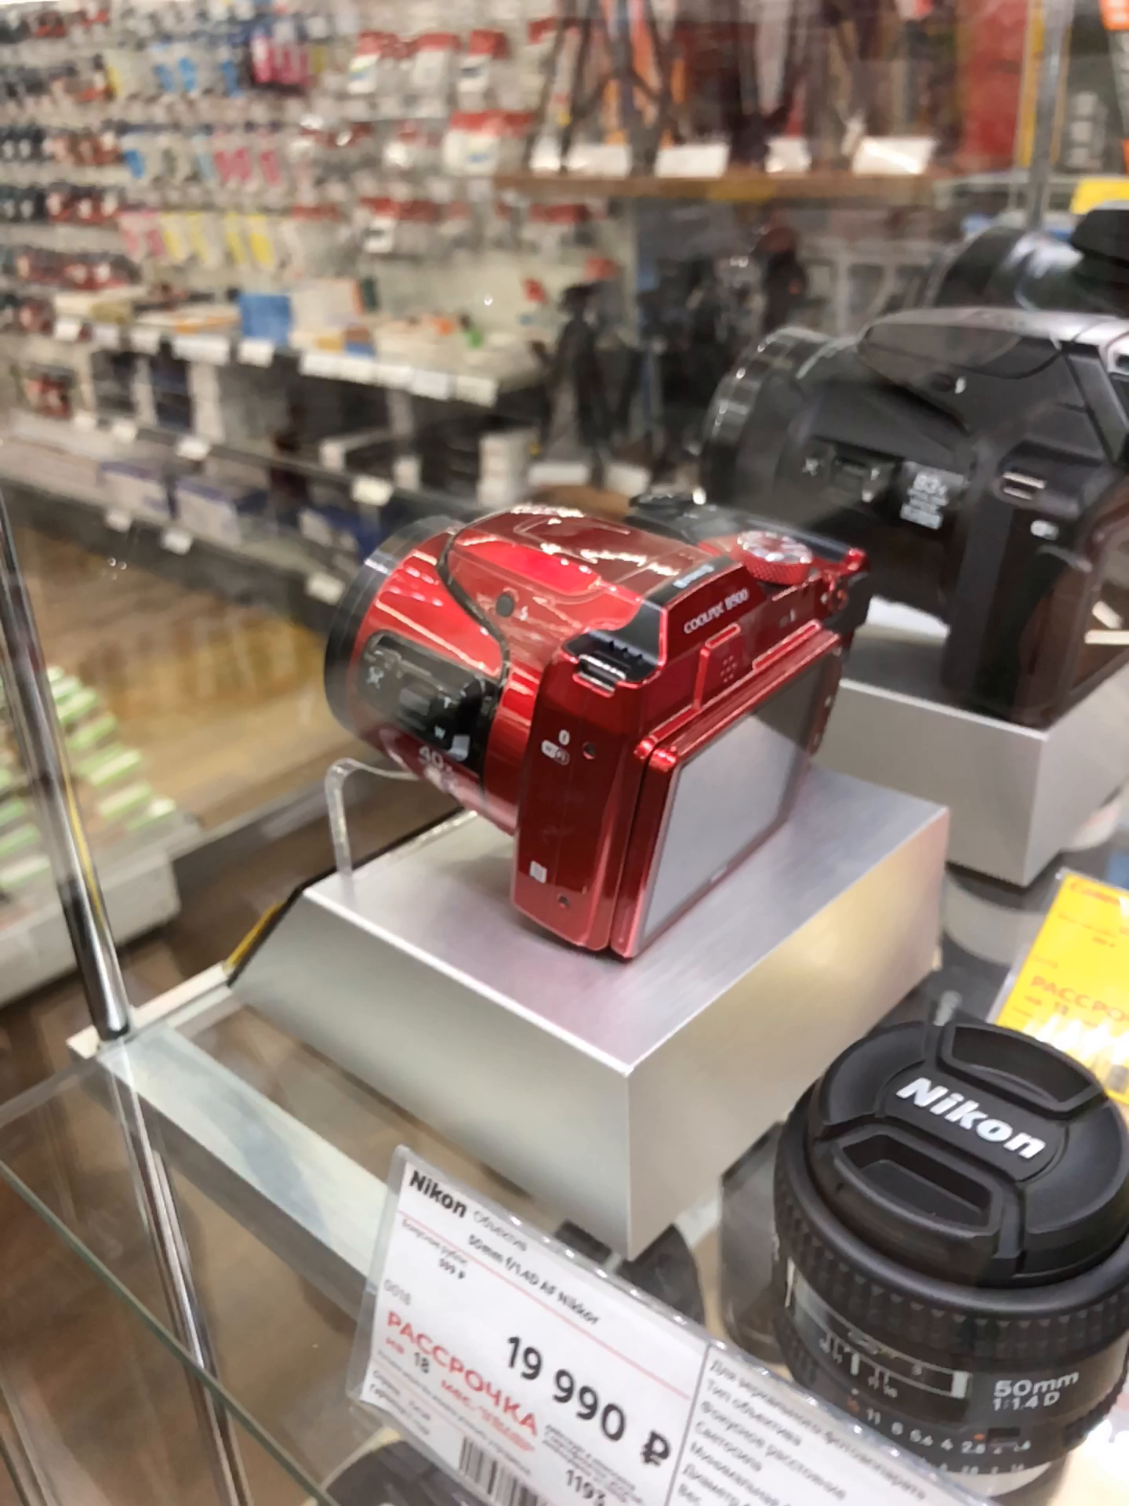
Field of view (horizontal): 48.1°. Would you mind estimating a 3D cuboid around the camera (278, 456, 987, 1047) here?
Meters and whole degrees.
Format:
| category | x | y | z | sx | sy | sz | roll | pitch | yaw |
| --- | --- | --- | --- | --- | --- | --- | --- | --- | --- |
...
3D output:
| category | x | y | z | sx | sy | sz | roll | pitch | yaw |
| --- | --- | --- | --- | --- | --- | --- | --- | --- | --- |
| camera | 0.018 | -0.013 | 0.306 | 0.110 | 0.076 | 0.120 | 21 | 36 | 39 |
